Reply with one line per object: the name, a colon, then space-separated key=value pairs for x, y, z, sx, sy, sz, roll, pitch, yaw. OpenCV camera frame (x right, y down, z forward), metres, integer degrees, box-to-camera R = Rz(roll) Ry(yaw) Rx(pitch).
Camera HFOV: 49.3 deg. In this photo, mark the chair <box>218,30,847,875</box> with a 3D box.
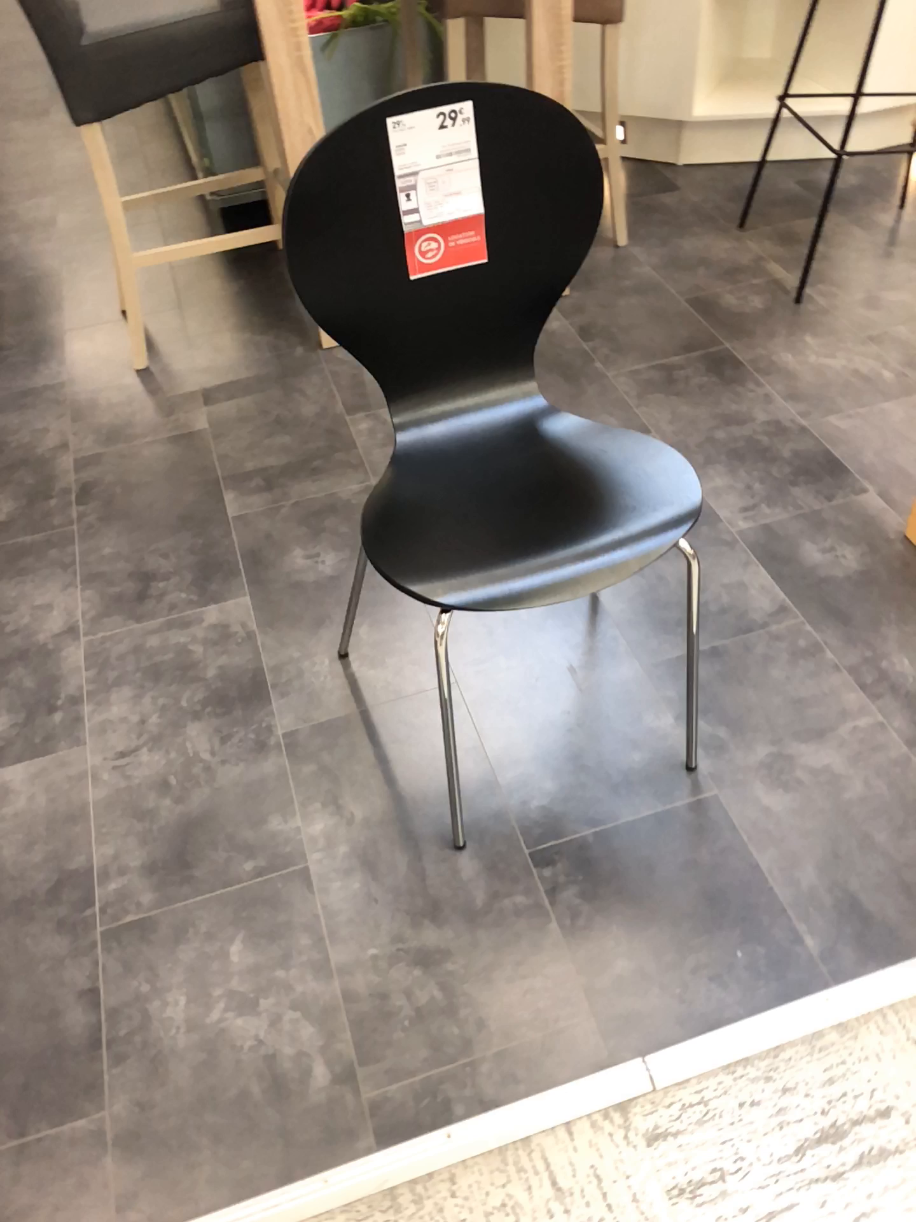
chair: x=0.067 y=-0.172 z=1.331 sx=0.491 sy=0.895 sz=0.502 roll=-16 pitch=45 yaw=-10
